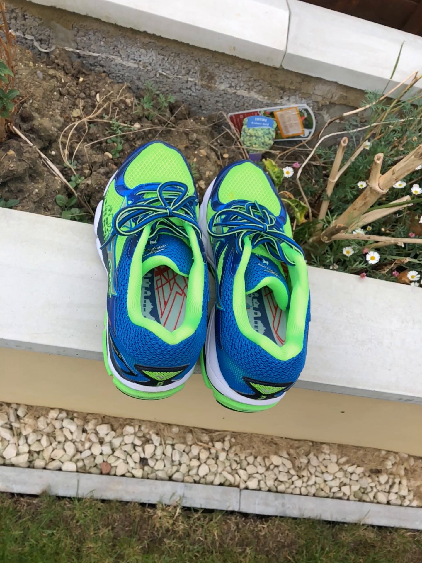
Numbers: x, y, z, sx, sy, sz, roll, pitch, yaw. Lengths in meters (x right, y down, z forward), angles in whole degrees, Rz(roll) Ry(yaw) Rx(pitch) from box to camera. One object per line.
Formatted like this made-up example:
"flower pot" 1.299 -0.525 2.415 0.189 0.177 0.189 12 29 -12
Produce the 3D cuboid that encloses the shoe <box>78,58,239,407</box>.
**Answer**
"shoe" -0.056 -0.044 0.430 0.110 0.119 0.291 3 65 -13

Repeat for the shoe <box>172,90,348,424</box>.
"shoe" 0.039 -0.028 0.453 0.110 0.119 0.291 9 60 -11
